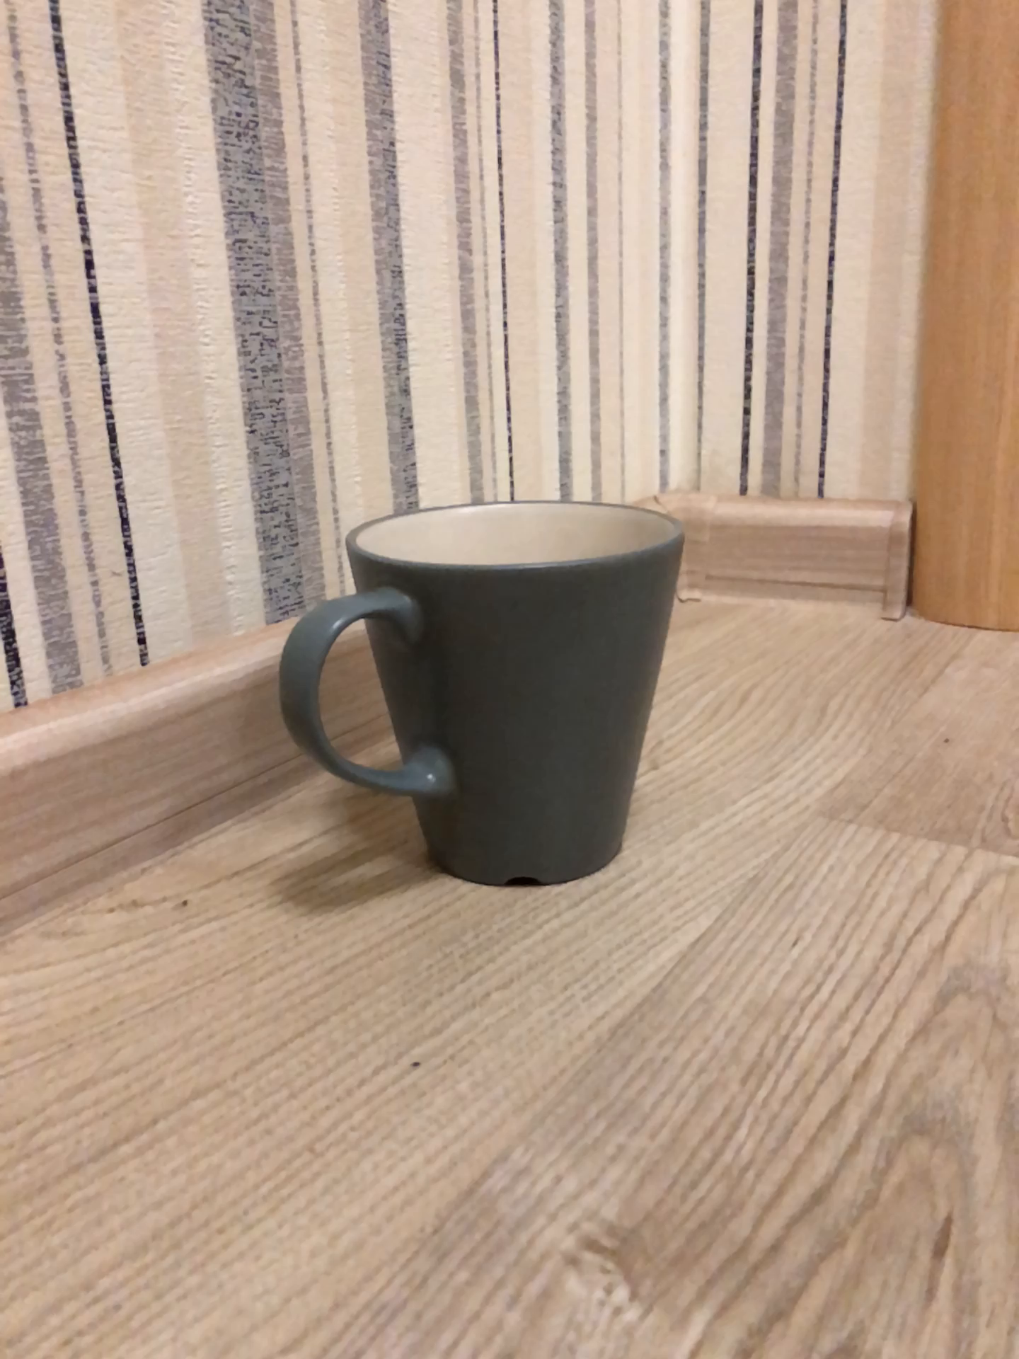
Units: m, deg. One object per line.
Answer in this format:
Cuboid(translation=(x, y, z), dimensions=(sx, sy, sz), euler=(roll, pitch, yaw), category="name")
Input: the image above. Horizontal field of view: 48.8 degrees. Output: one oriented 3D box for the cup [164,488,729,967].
Cuboid(translation=(-0.013, 0.001, 0.323), dimensions=(0.125, 0.089, 0.096), euler=(-18, 23, -42), category="cup")
